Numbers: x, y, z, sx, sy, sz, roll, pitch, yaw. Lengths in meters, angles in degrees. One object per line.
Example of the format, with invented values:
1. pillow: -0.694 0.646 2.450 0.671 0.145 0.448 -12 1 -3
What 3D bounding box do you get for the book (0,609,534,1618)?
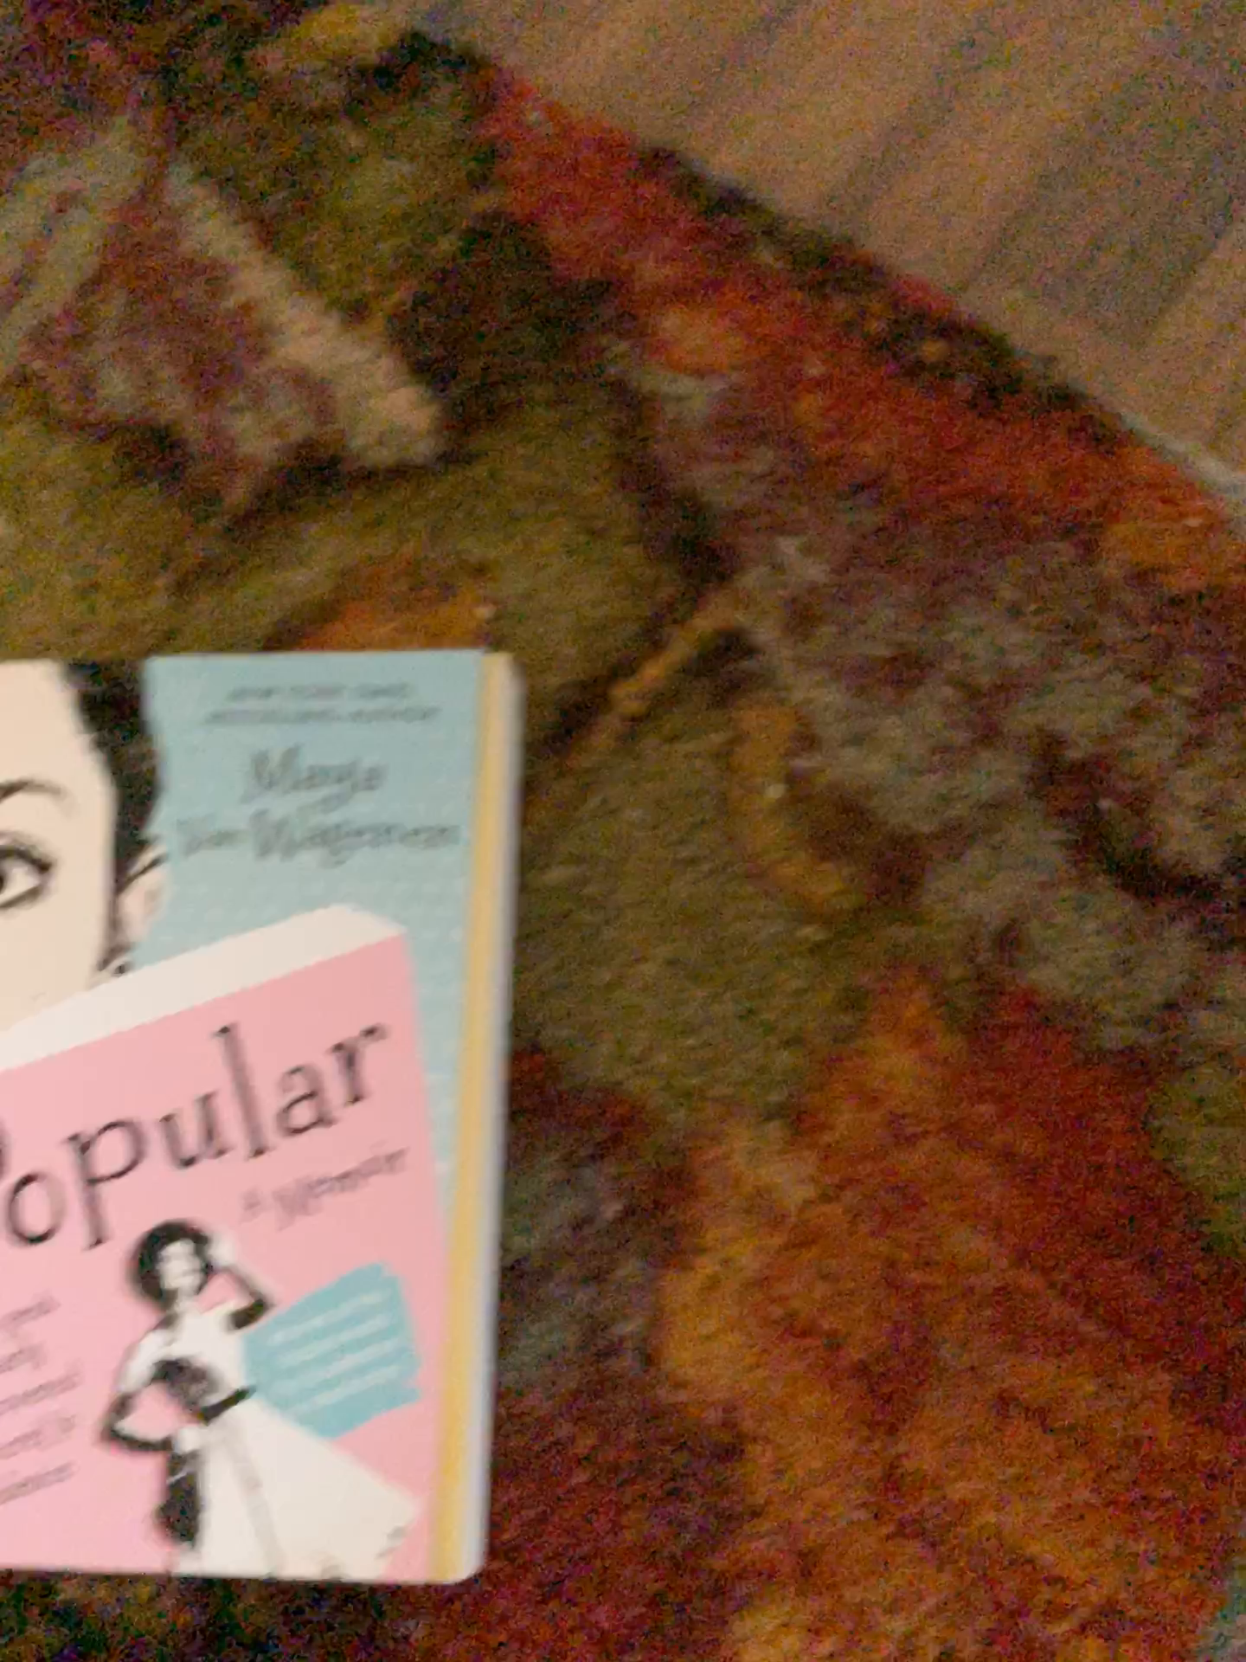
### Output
1. book: -0.101 0.055 0.309 0.150 0.030 0.220 -1 70 5
